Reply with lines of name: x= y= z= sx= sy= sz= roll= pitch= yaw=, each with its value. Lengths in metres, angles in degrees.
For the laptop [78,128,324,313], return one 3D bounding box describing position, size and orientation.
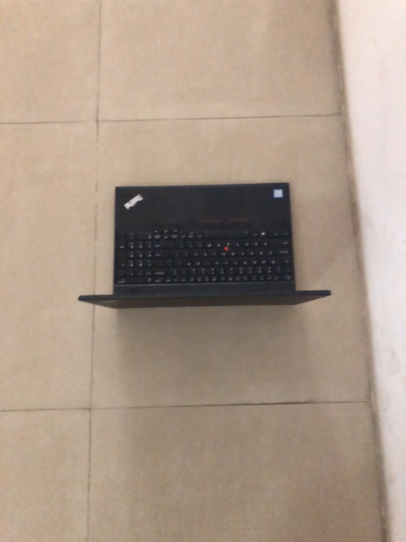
laptop: x=-0.002 y=-0.070 z=0.784 sx=0.353 sy=0.241 sz=0.255 roll=-1 pitch=79 yaw=-1
